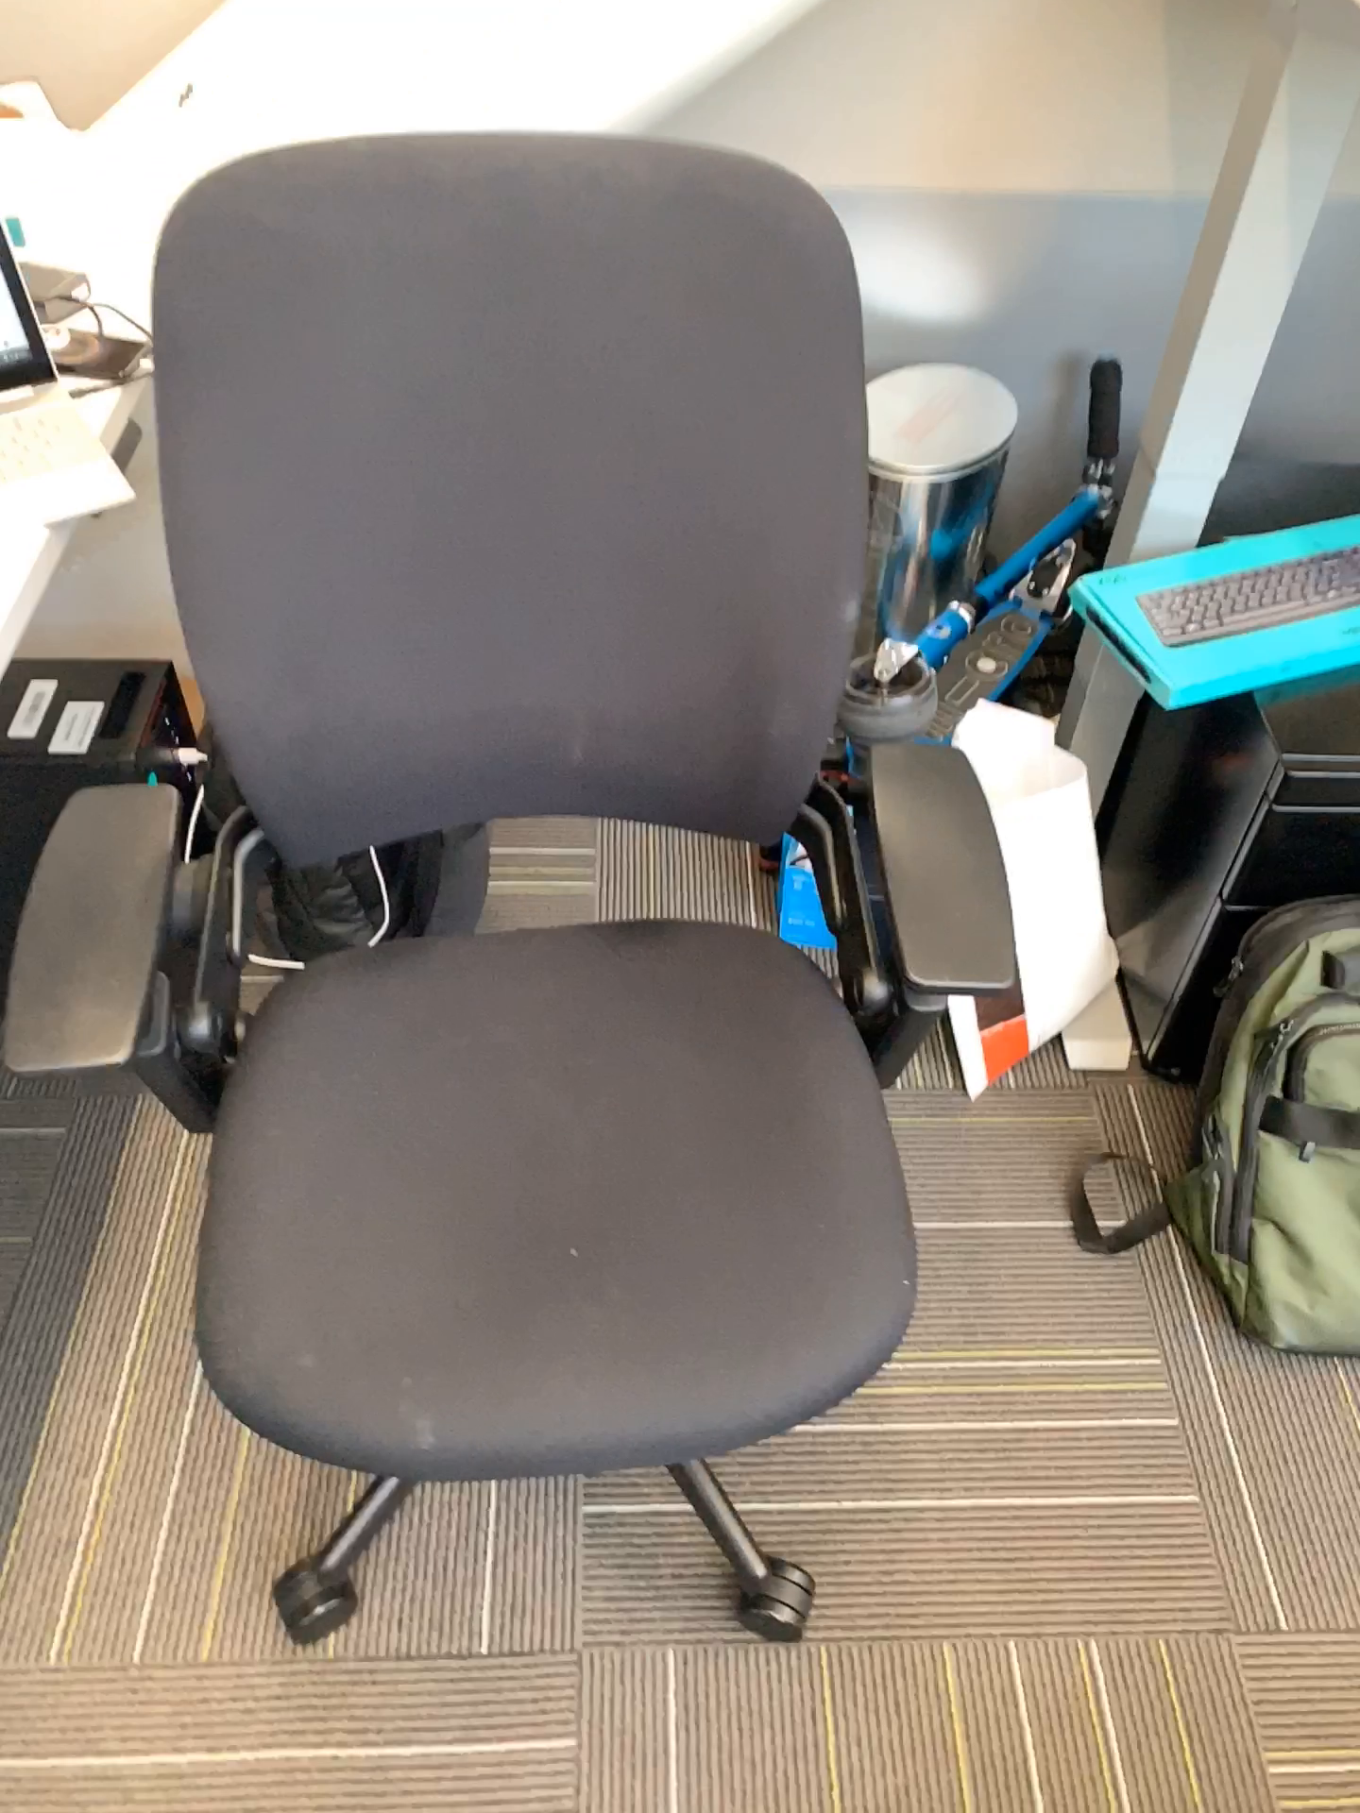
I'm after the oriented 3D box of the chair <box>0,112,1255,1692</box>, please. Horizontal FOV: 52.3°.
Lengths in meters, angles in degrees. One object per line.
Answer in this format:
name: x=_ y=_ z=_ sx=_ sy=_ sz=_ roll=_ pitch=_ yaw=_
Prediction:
chair: x=-0.102 y=0.168 z=1.216 sx=0.580 sy=1.362 sz=0.634 roll=0 pitch=48 yaw=-1
